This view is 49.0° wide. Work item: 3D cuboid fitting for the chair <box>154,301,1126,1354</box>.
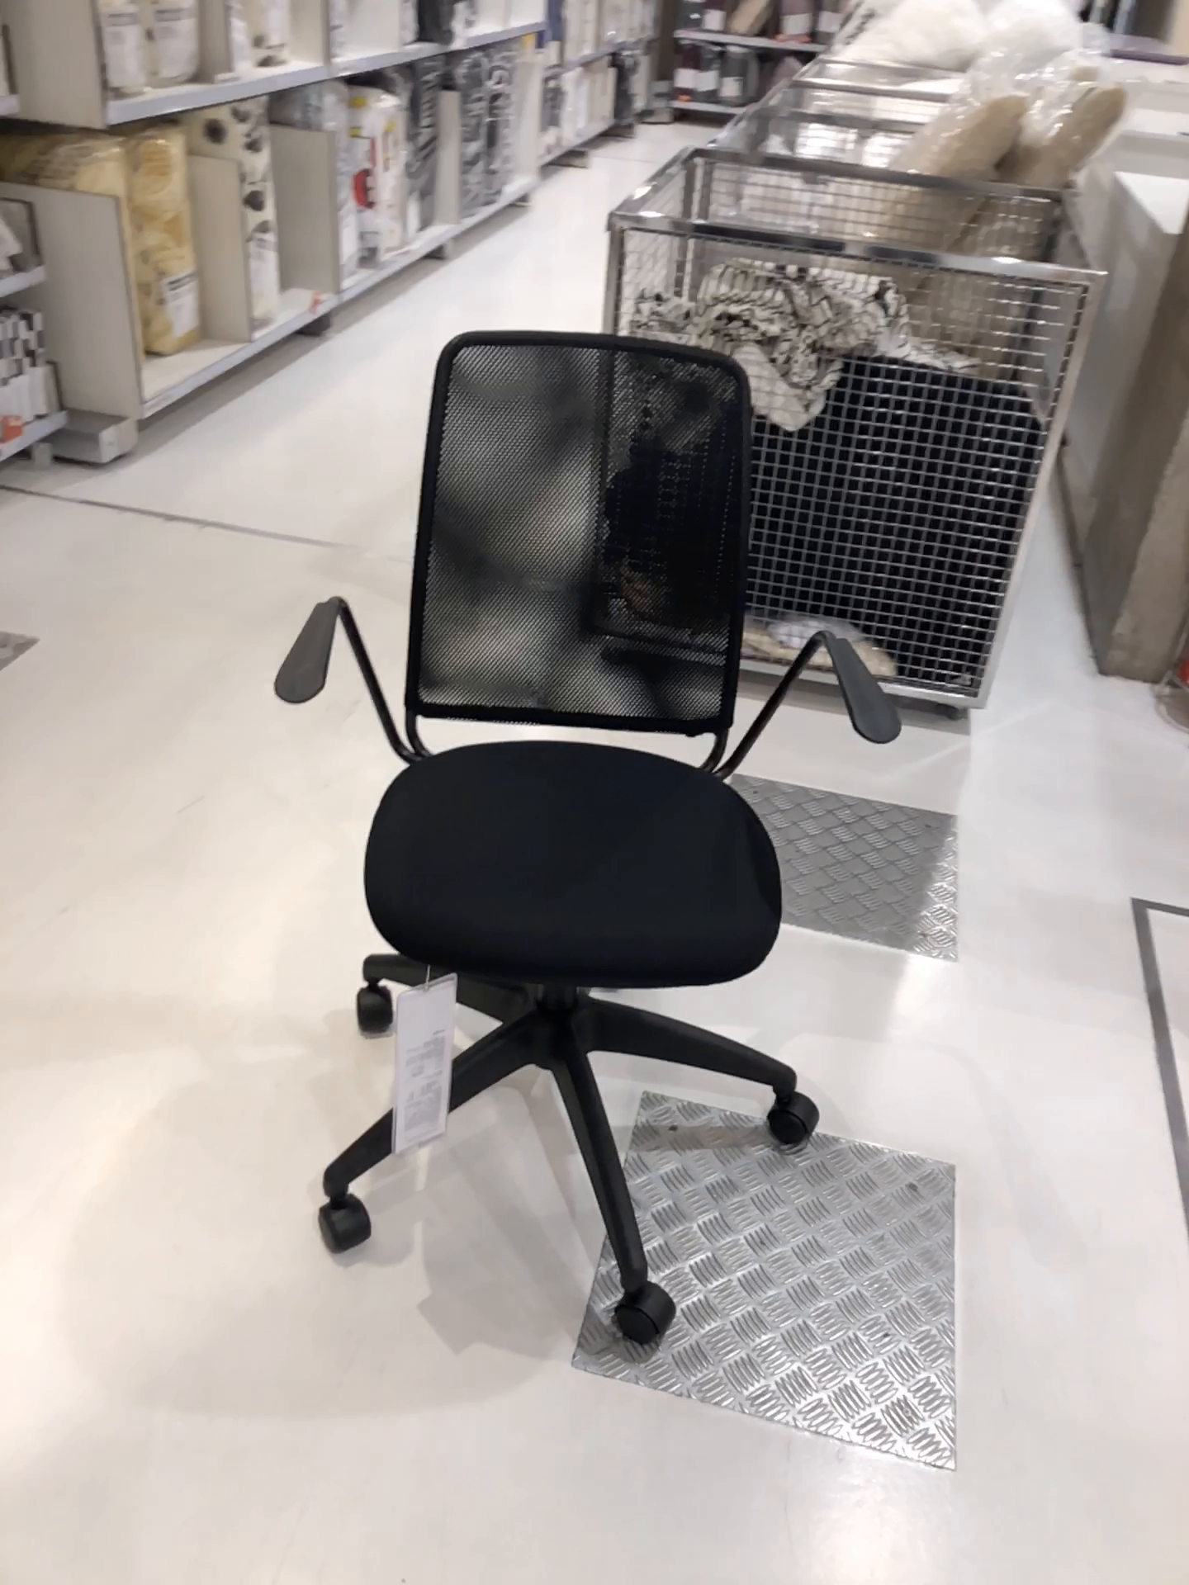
[{"bbox_3d":[-0.005,0.019,1.353,0.630,0.814,0.695,2,34,-4],"label":"chair"}]
